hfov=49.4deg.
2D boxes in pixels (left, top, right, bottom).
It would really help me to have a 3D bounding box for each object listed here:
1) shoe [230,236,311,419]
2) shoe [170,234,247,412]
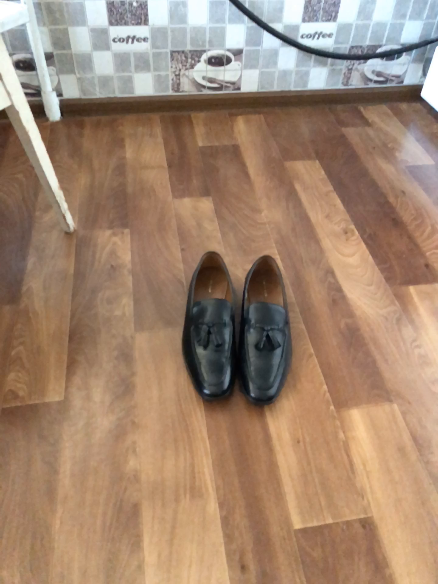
[{"bbox_3d":[0.082,0.050,0.824,0.110,0.119,0.302,3,46,1],"label":"shoe"},{"bbox_3d":[-0.020,0.042,0.828,0.110,0.119,0.302,0,46,-2],"label":"shoe"}]
